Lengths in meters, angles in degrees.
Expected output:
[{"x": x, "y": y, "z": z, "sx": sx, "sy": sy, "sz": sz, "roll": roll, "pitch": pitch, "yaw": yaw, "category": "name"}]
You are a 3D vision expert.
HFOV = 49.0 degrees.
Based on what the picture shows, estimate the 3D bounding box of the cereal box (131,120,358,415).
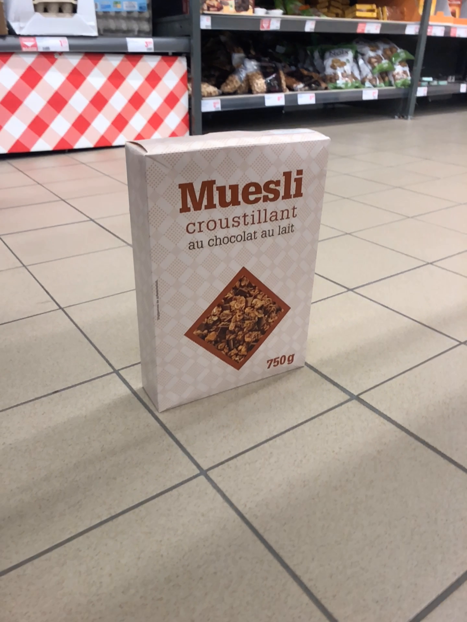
[{"x": 0.011, "y": -0.045, "z": 0.525, "sx": 0.201, "sy": 0.268, "sz": 0.060, "roll": -13, "pitch": 31, "yaw": -25, "category": "cereal box"}]
